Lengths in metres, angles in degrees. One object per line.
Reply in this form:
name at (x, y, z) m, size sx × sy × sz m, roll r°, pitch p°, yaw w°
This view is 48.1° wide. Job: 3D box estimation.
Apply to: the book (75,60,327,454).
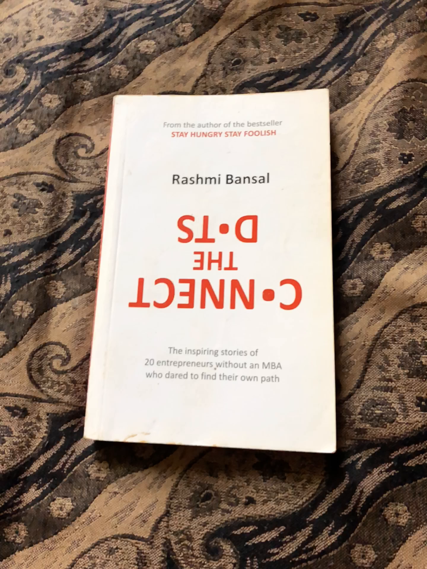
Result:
book at (-0.002, -0.020, 0.287) m, size 0.130 × 0.040 × 0.220 m, roll 0°, pitch 76°, yaw 10°
